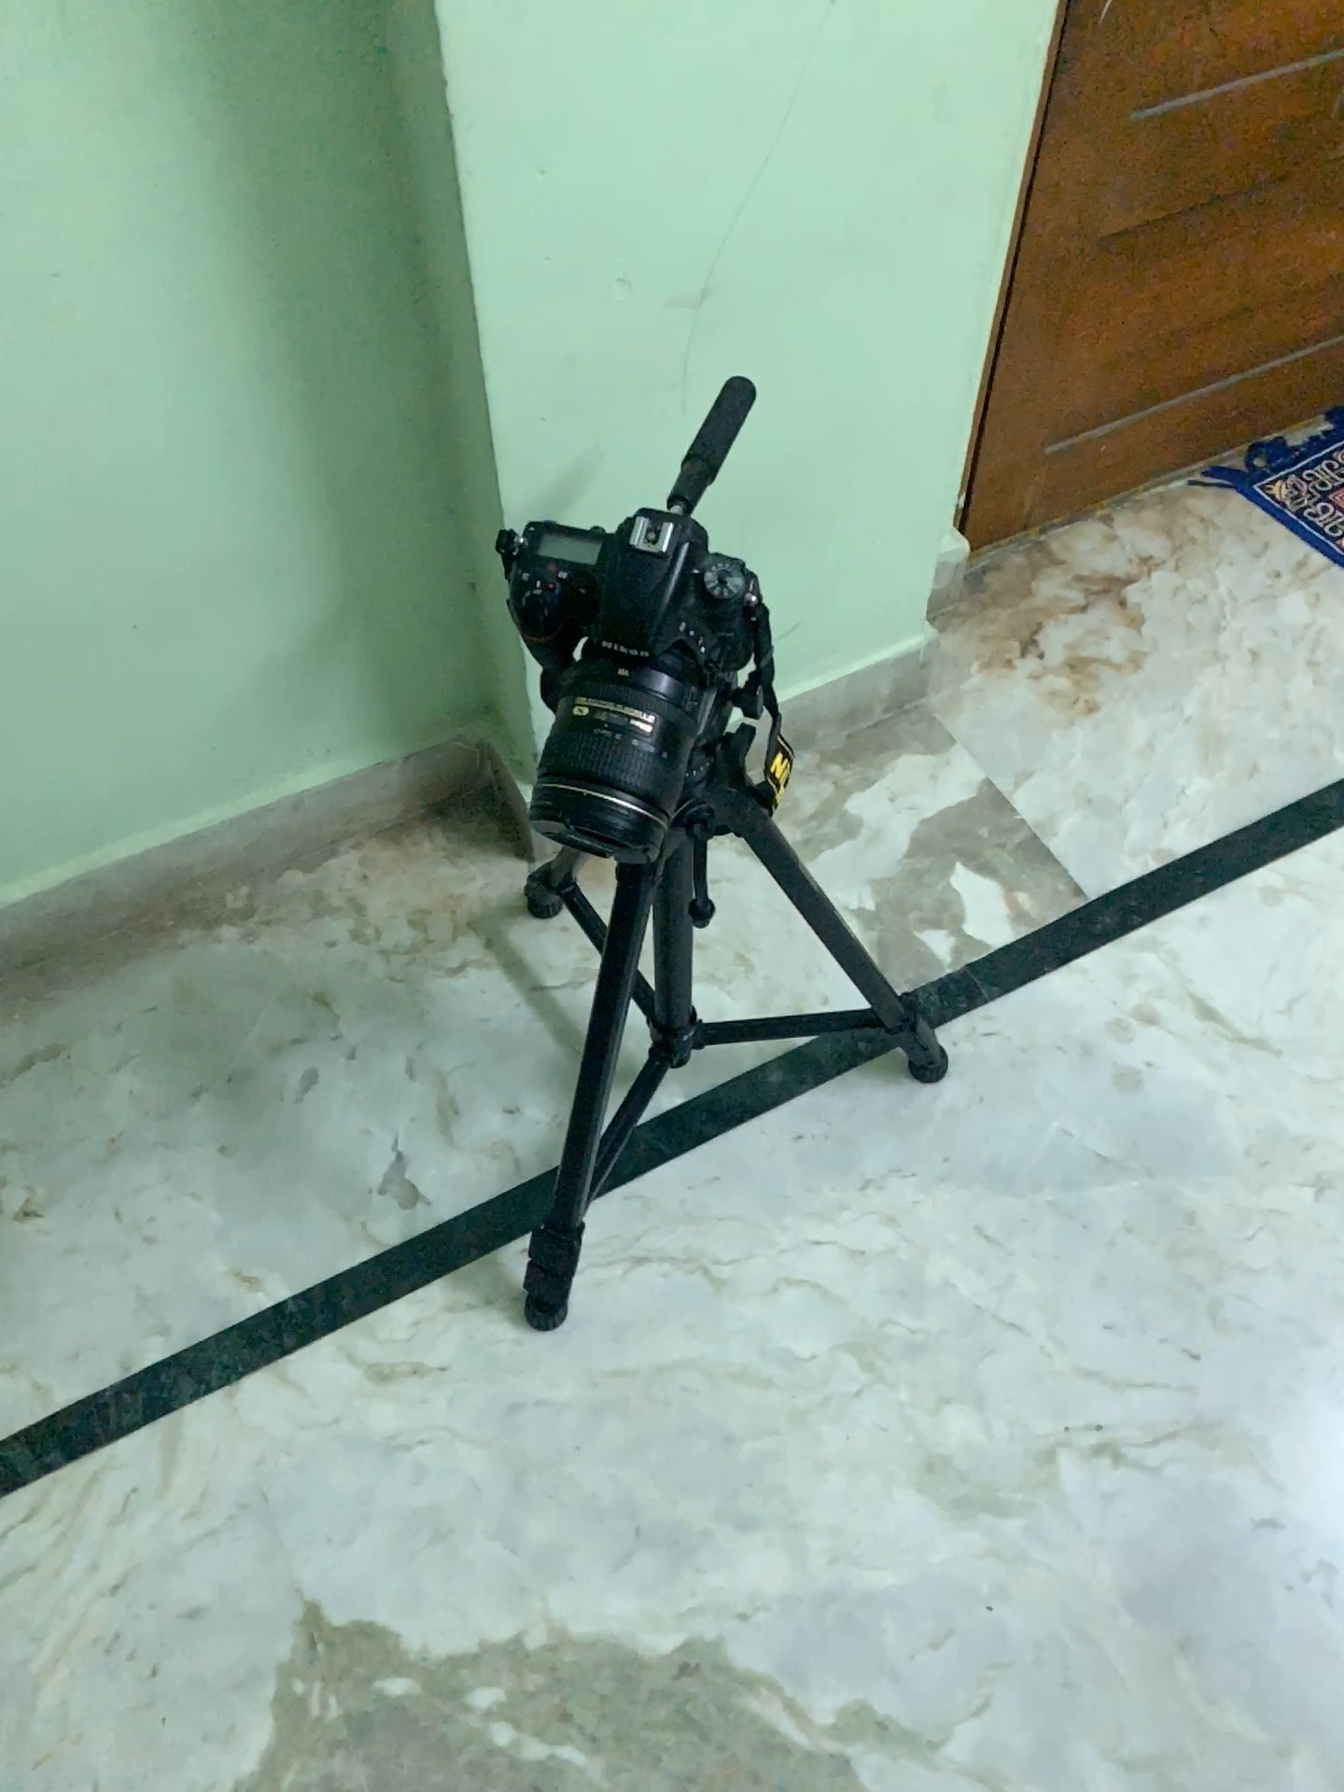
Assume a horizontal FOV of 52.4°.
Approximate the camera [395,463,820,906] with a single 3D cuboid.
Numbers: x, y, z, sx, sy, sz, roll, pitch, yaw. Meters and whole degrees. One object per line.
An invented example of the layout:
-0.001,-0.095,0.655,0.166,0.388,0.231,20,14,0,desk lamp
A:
-0.028,-0.113,0.754,0.170,0.110,0.180,16,81,11,camera
